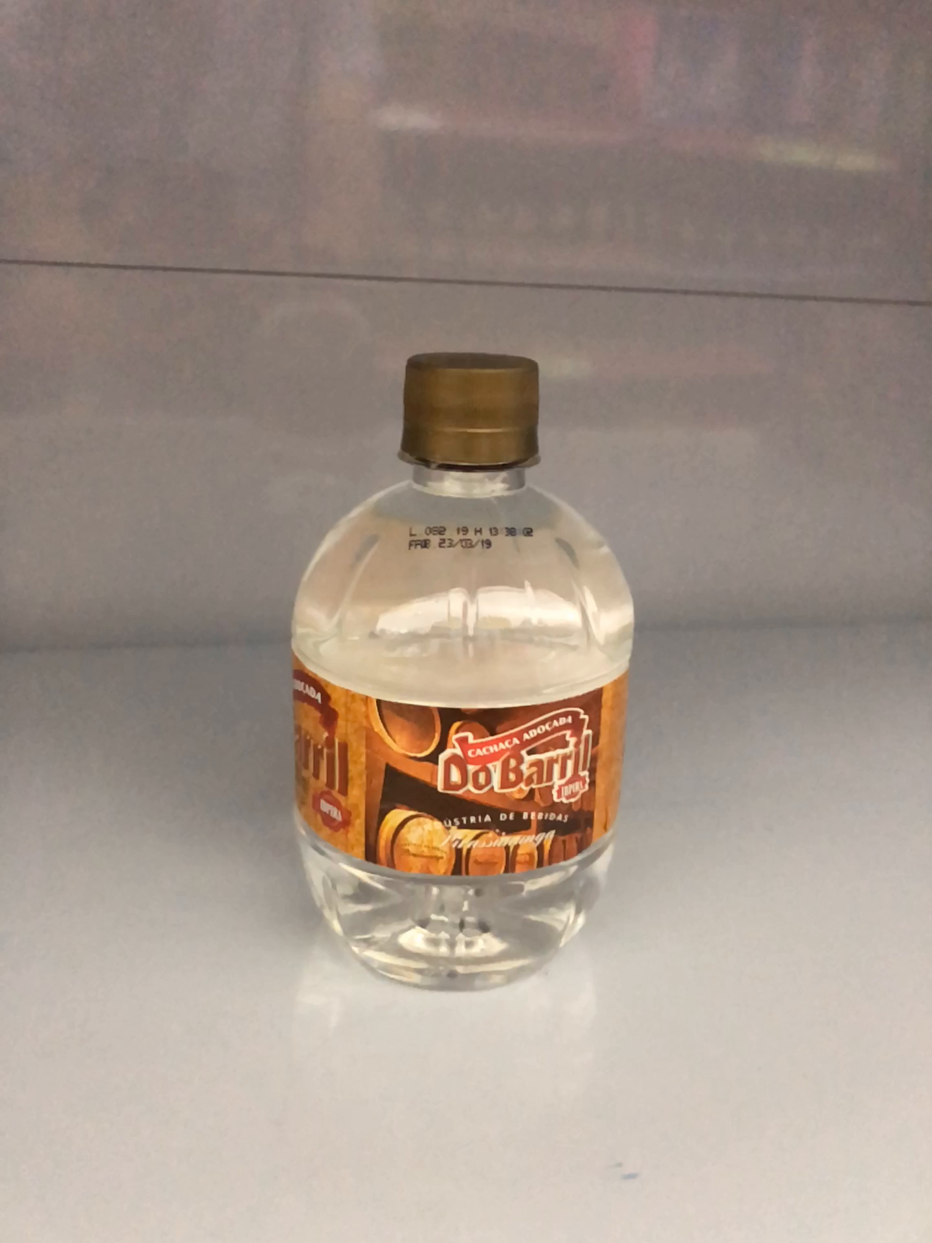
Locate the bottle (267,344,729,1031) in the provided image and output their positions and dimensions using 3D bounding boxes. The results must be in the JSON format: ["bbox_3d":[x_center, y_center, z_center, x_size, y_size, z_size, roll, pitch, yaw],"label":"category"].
[{"bbox_3d":[-0.001,0.008,0.255,0.080,0.139,0.080,2,20,-1],"label":"bottle"}]
